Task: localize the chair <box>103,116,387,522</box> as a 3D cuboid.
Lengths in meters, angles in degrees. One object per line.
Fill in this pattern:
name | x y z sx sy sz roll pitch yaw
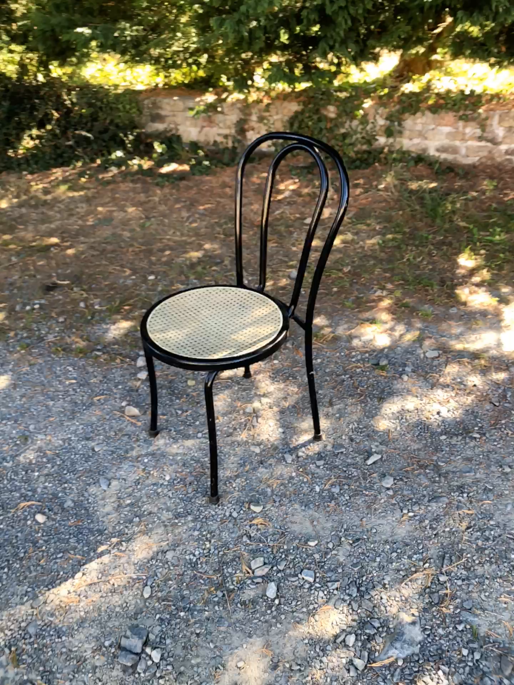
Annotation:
chair | -0.032 -0.076 1.494 0.472 0.875 0.431 -23 39 -32
